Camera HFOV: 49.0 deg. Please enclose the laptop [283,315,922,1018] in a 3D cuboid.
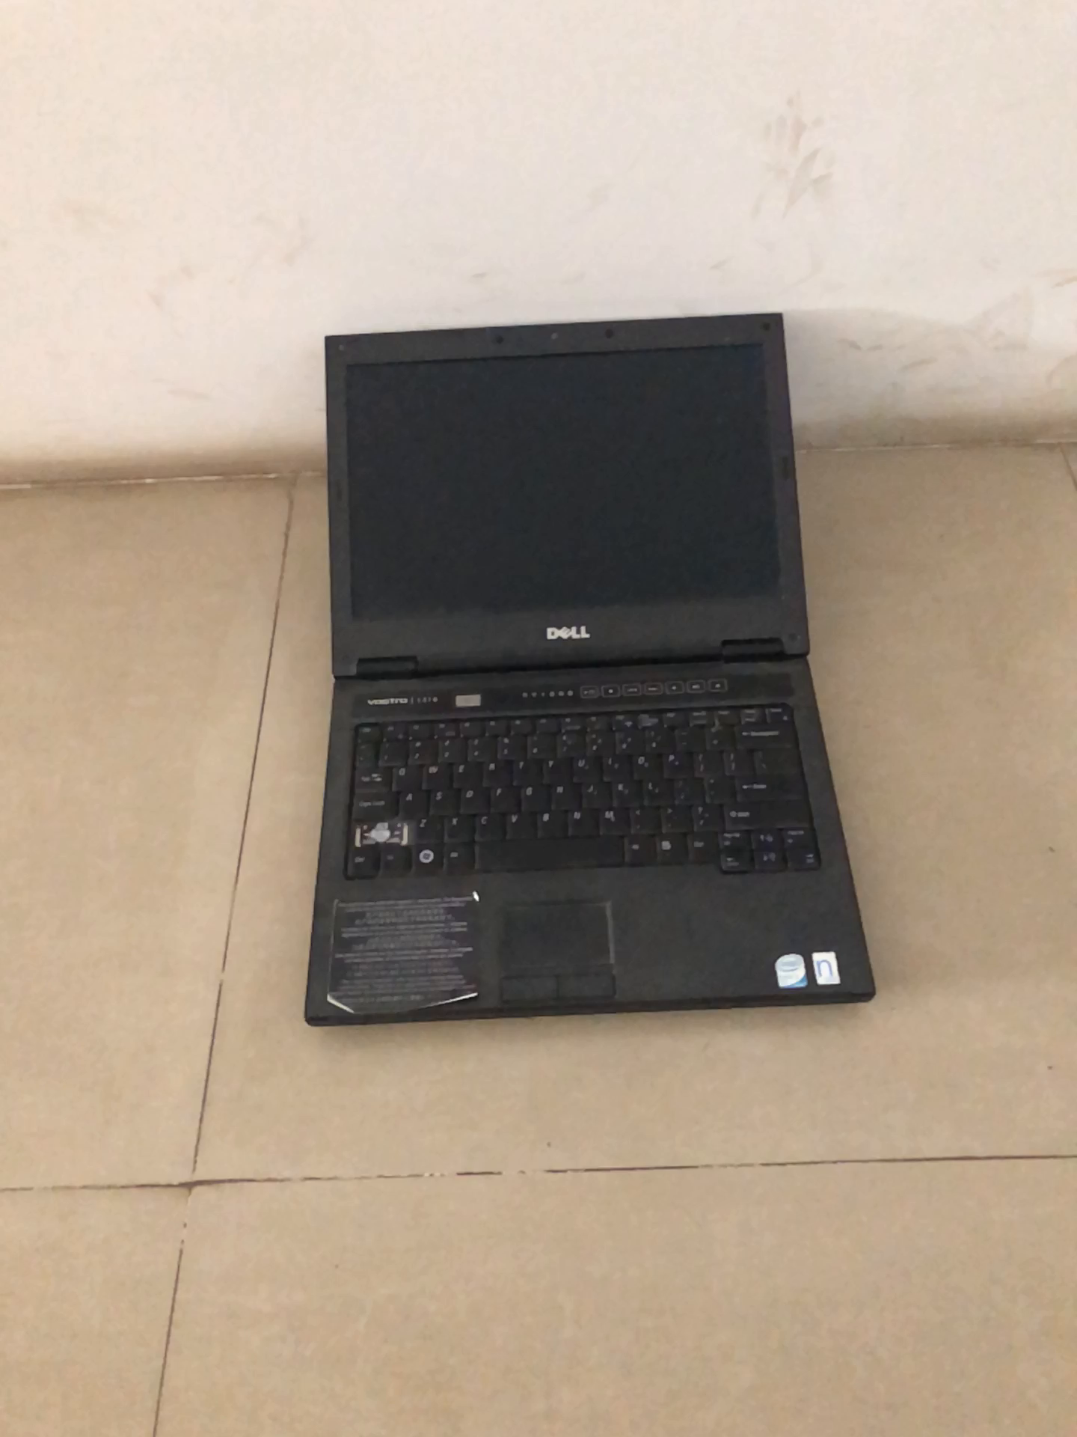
[{"bbox_3d":[0.025,-0.054,0.724,0.299,0.114,0.435,-3,54,2],"label":"laptop"}]
